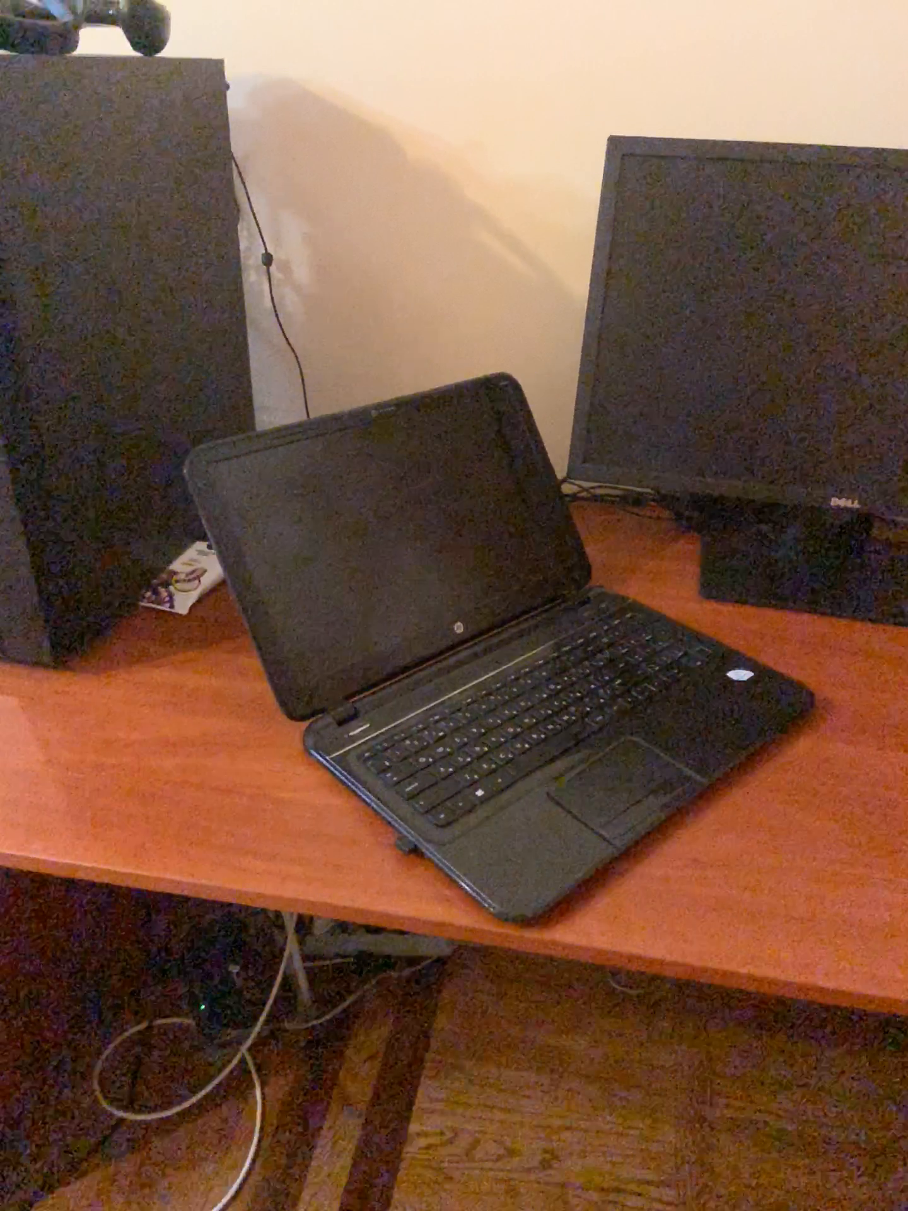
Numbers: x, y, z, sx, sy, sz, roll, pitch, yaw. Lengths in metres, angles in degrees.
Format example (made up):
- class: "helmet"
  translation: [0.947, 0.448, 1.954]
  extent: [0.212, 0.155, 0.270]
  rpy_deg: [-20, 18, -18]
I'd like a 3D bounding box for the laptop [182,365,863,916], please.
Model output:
- class: "laptop"
  translation: [0.042, -0.023, 0.700]
  extent: [0.332, 0.168, 0.359]
  rpy_deg: [-23, 40, -36]
